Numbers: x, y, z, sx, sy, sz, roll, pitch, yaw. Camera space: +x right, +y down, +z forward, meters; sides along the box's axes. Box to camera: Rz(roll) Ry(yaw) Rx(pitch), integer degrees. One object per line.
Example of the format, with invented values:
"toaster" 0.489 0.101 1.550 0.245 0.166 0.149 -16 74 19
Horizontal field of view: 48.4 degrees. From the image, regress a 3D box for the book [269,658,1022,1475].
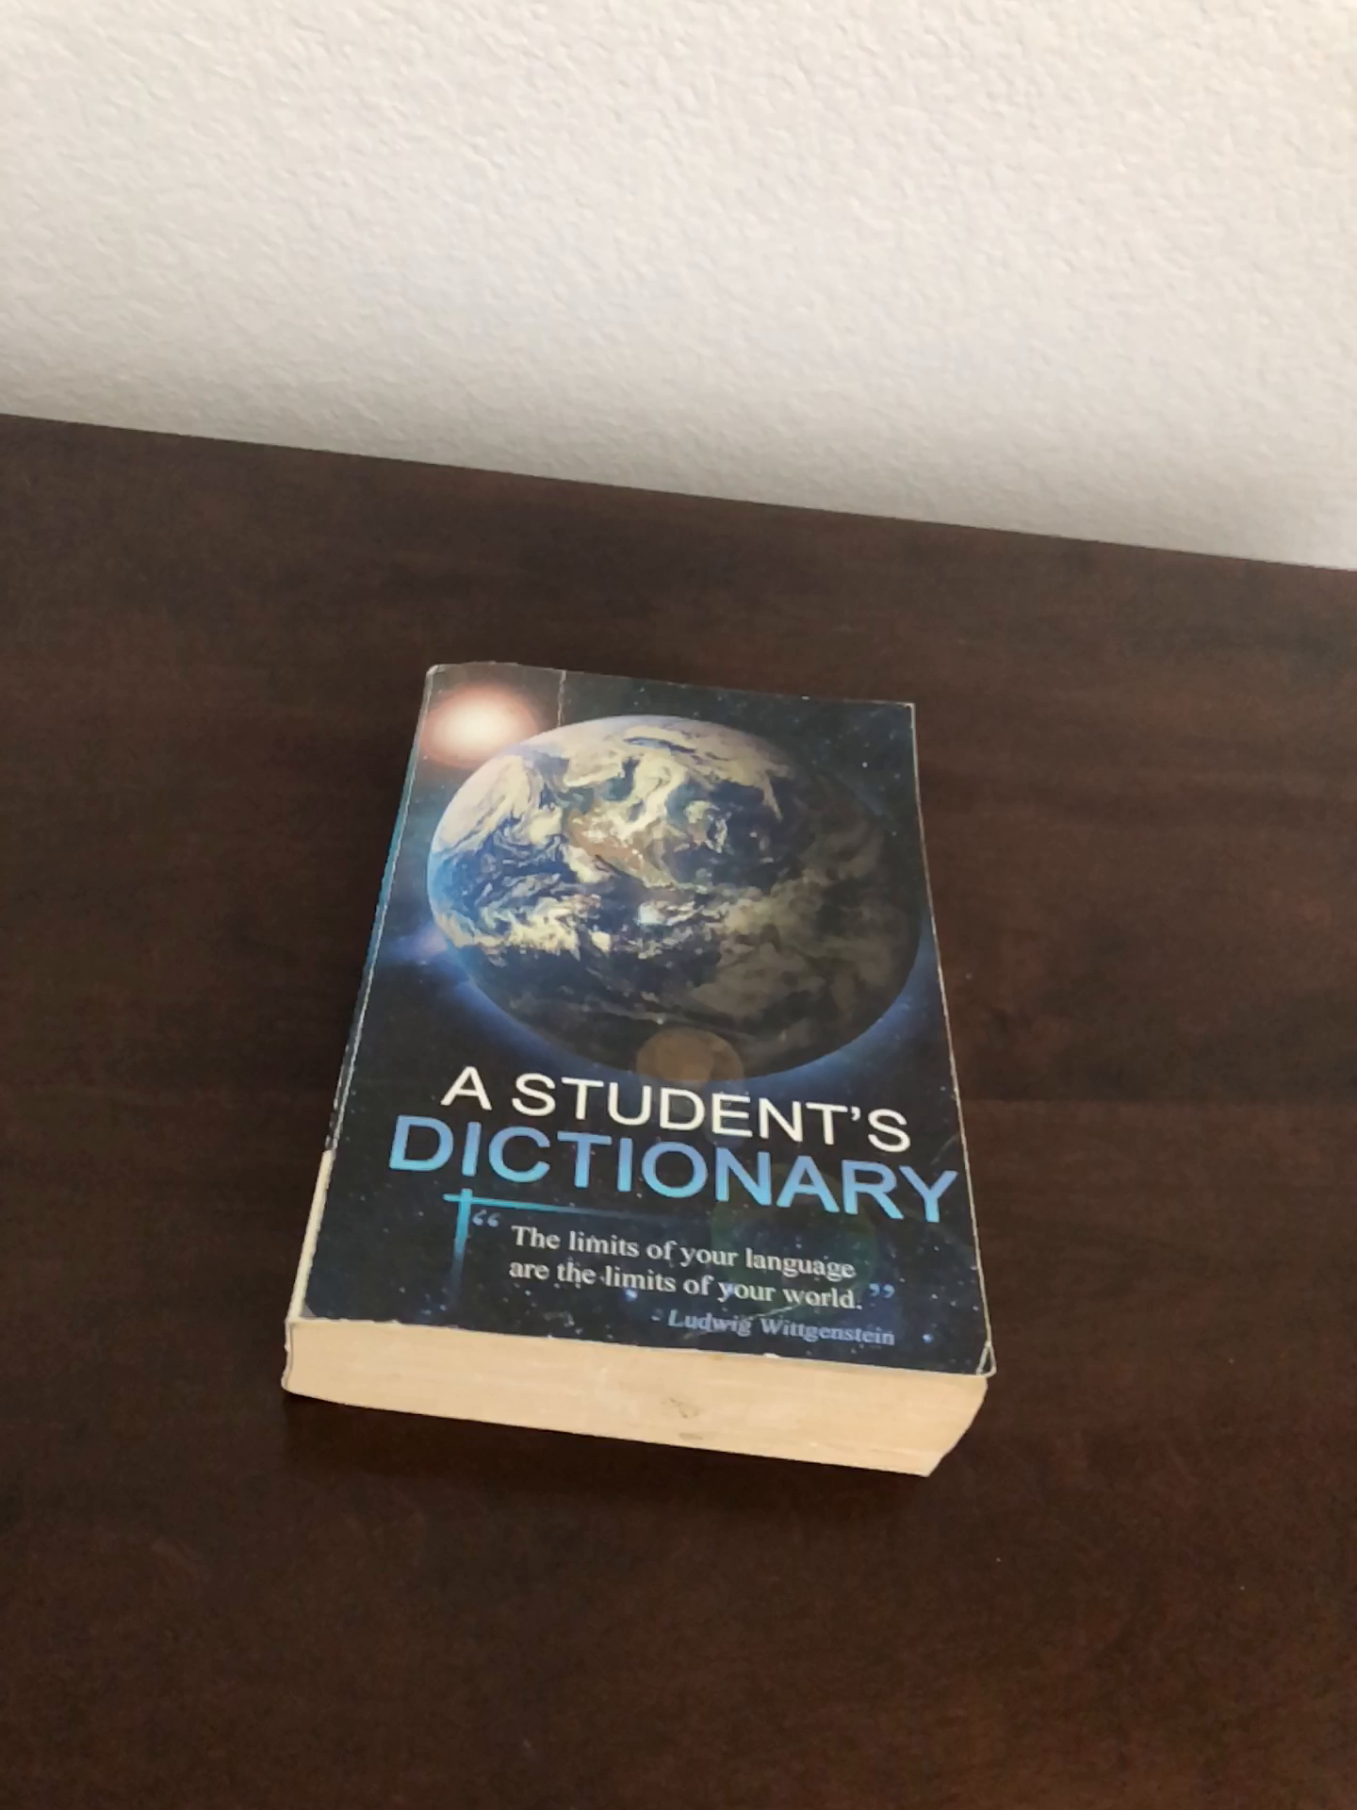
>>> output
"book" -0.005 0.025 0.364 0.141 0.040 0.202 4 47 -3
